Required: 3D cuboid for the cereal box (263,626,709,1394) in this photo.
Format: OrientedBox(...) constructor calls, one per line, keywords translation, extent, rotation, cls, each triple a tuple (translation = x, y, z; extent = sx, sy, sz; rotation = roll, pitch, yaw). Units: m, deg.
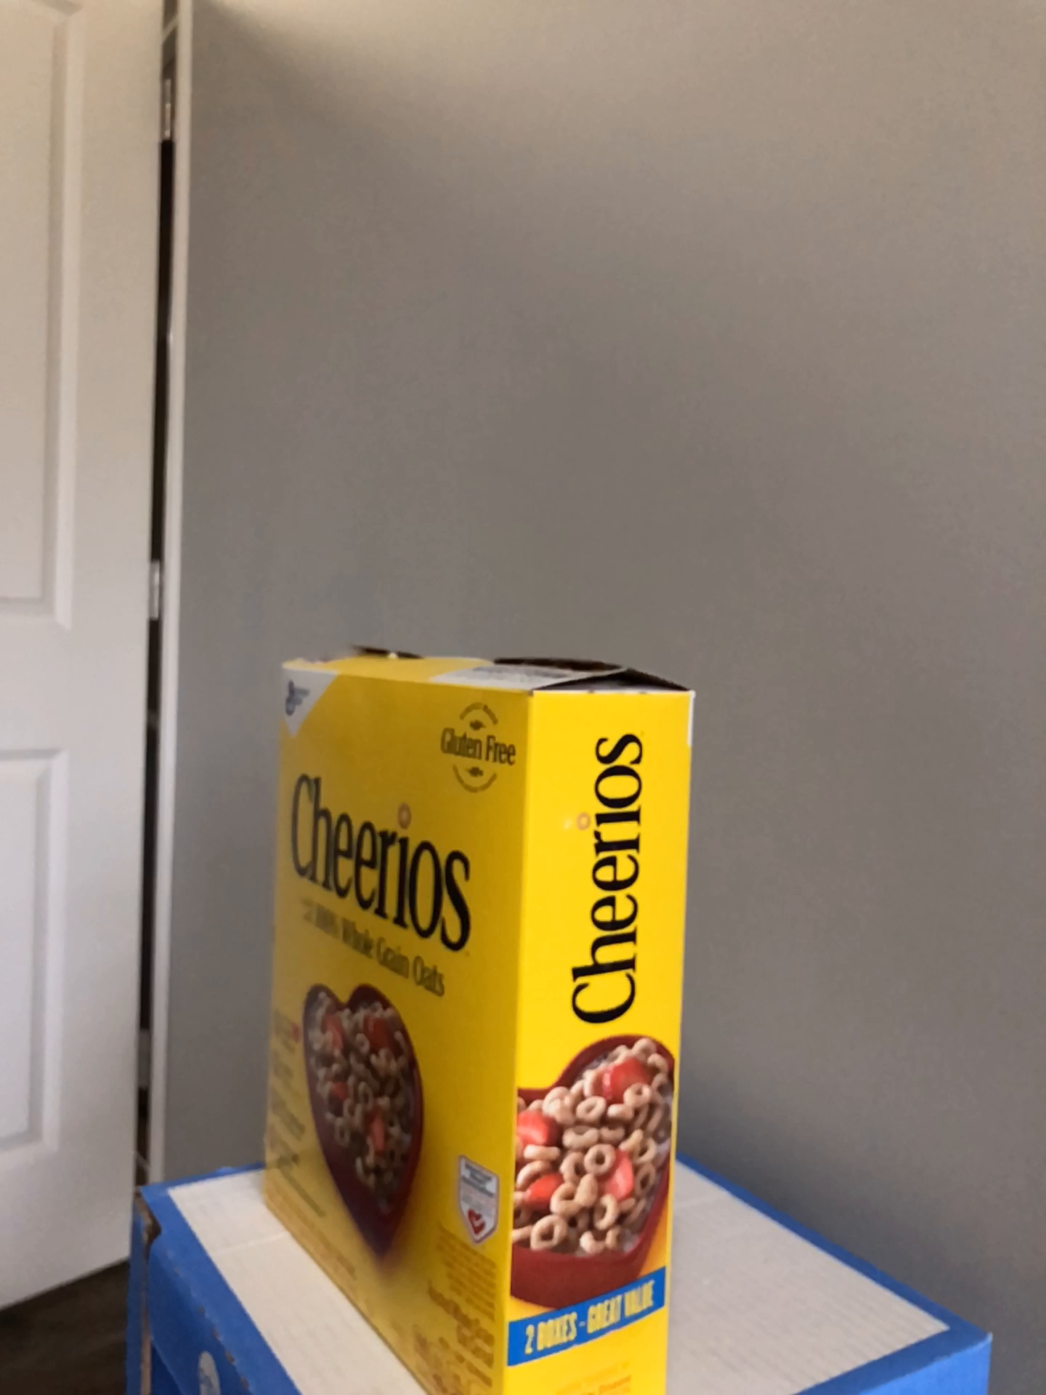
OrientedBox(translation=(-0.033, 0.124, 0.544), extent=(0.090, 0.310, 0.240), rotation=(1, 2, -32), cls="cereal box")
